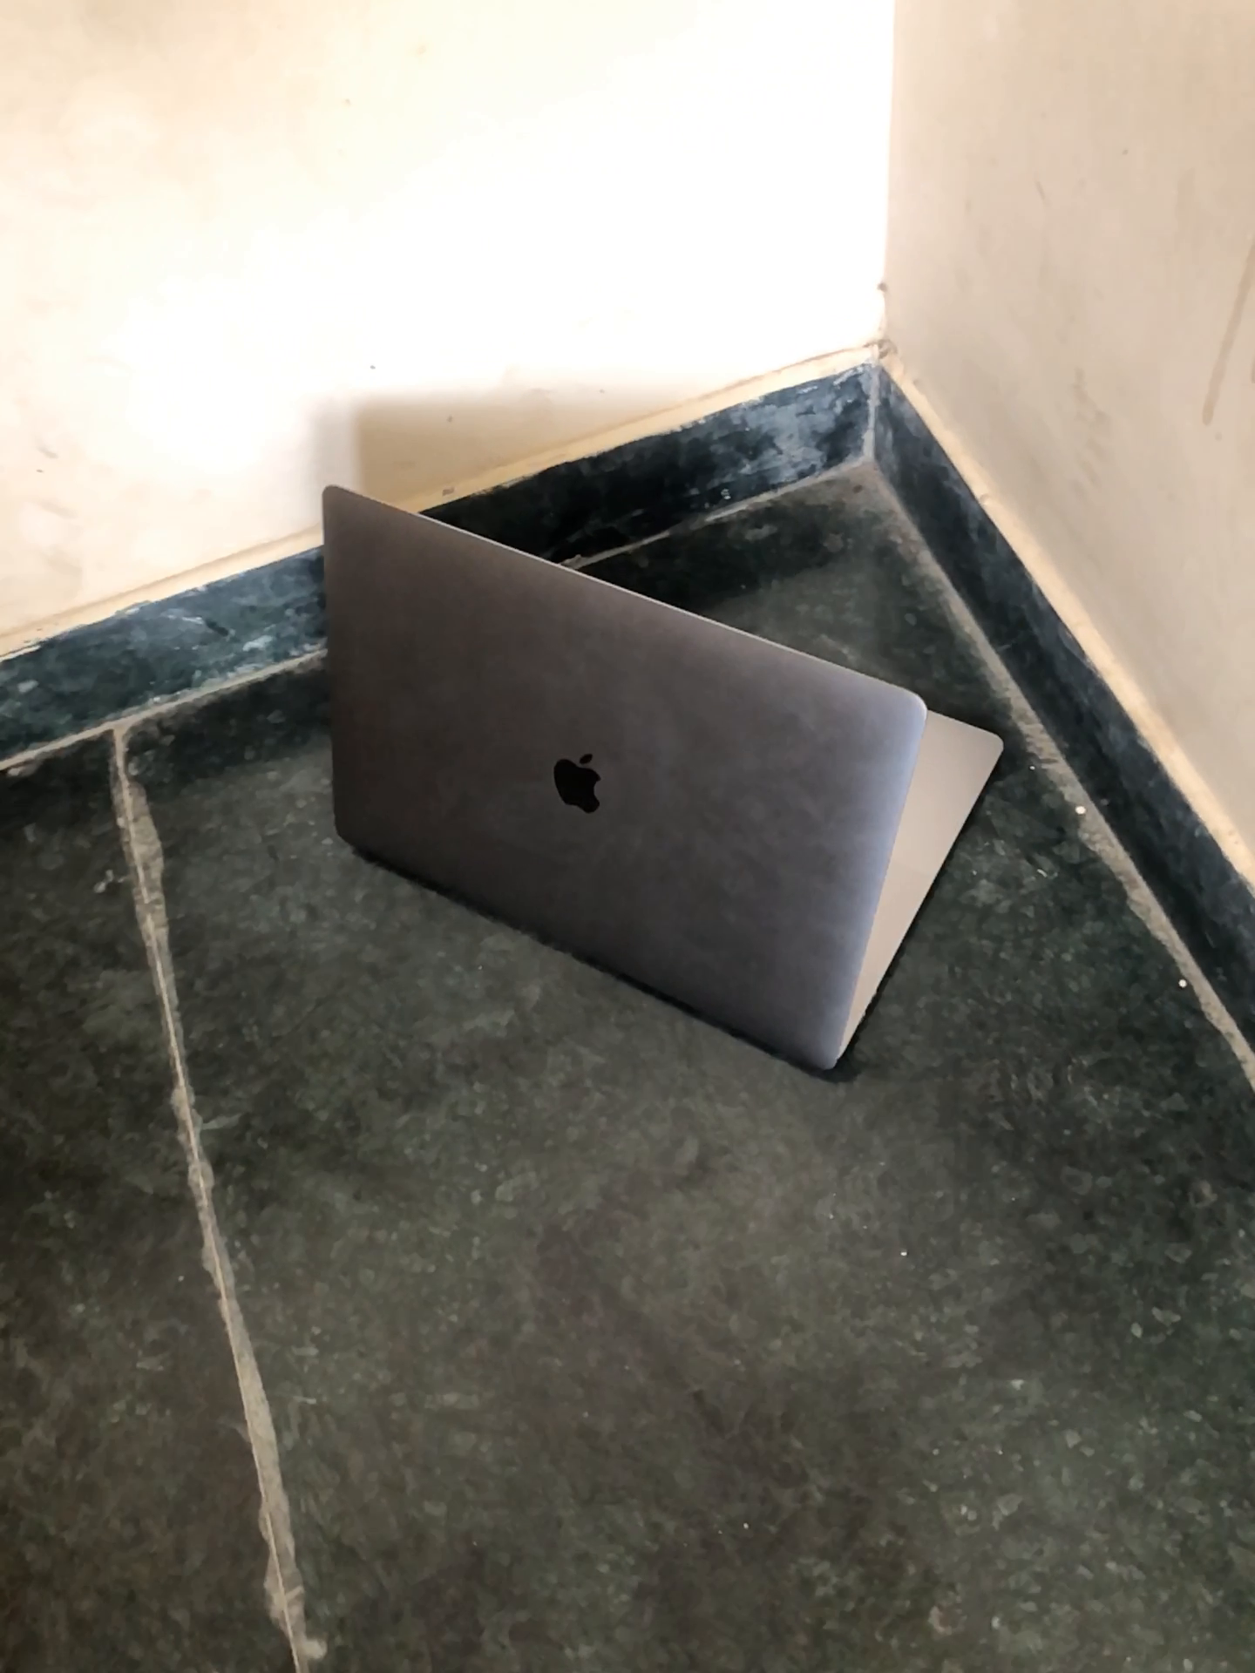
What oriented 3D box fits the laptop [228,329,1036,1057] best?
[{"bbox_3d":[0.008,-0.085,0.742,0.330,0.198,0.221,24,65,24],"label":"laptop"}]
